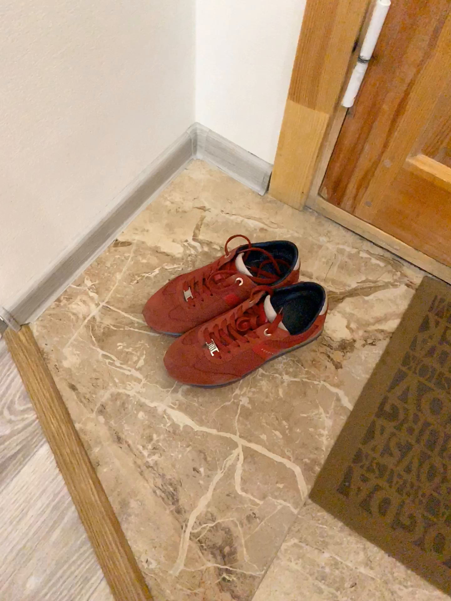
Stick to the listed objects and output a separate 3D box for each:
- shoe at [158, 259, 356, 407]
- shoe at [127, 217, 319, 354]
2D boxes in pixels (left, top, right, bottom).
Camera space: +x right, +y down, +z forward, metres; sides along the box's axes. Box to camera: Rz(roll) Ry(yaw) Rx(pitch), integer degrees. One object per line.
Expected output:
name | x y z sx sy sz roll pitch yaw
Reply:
shoe | 0.040 0.043 0.629 0.240 0.090 0.090 -22 66 -15
shoe | -0.003 -0.022 0.653 0.240 0.090 0.090 -20 65 -14
